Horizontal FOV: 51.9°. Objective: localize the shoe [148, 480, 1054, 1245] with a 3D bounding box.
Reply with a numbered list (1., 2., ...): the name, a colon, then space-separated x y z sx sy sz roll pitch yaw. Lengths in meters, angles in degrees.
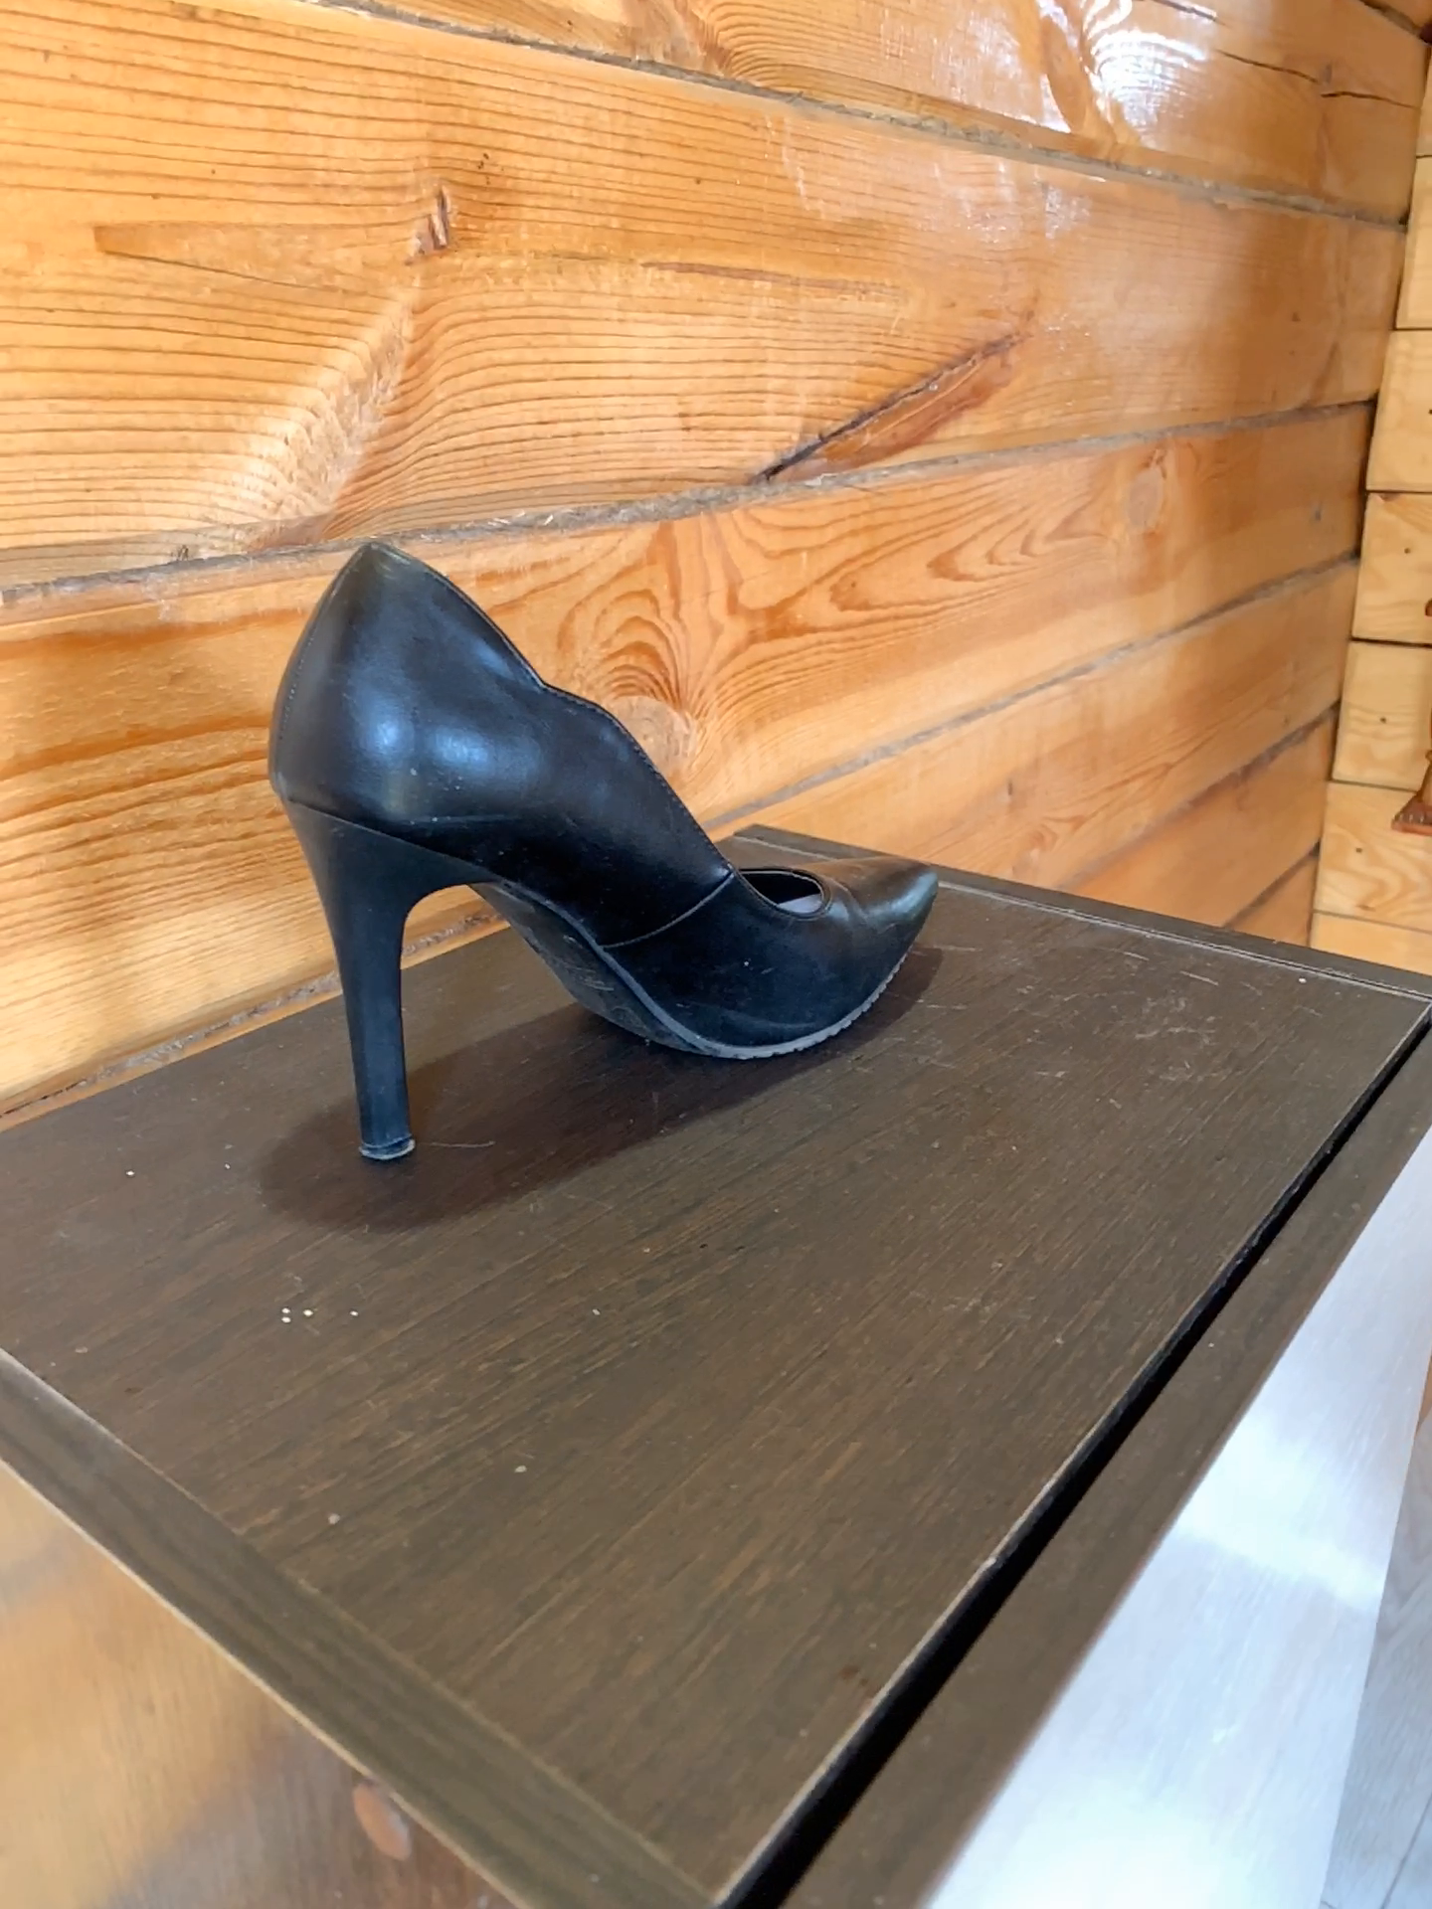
1. shoe: -0.019 -0.046 0.410 0.221 0.149 0.100 -19 27 -38
